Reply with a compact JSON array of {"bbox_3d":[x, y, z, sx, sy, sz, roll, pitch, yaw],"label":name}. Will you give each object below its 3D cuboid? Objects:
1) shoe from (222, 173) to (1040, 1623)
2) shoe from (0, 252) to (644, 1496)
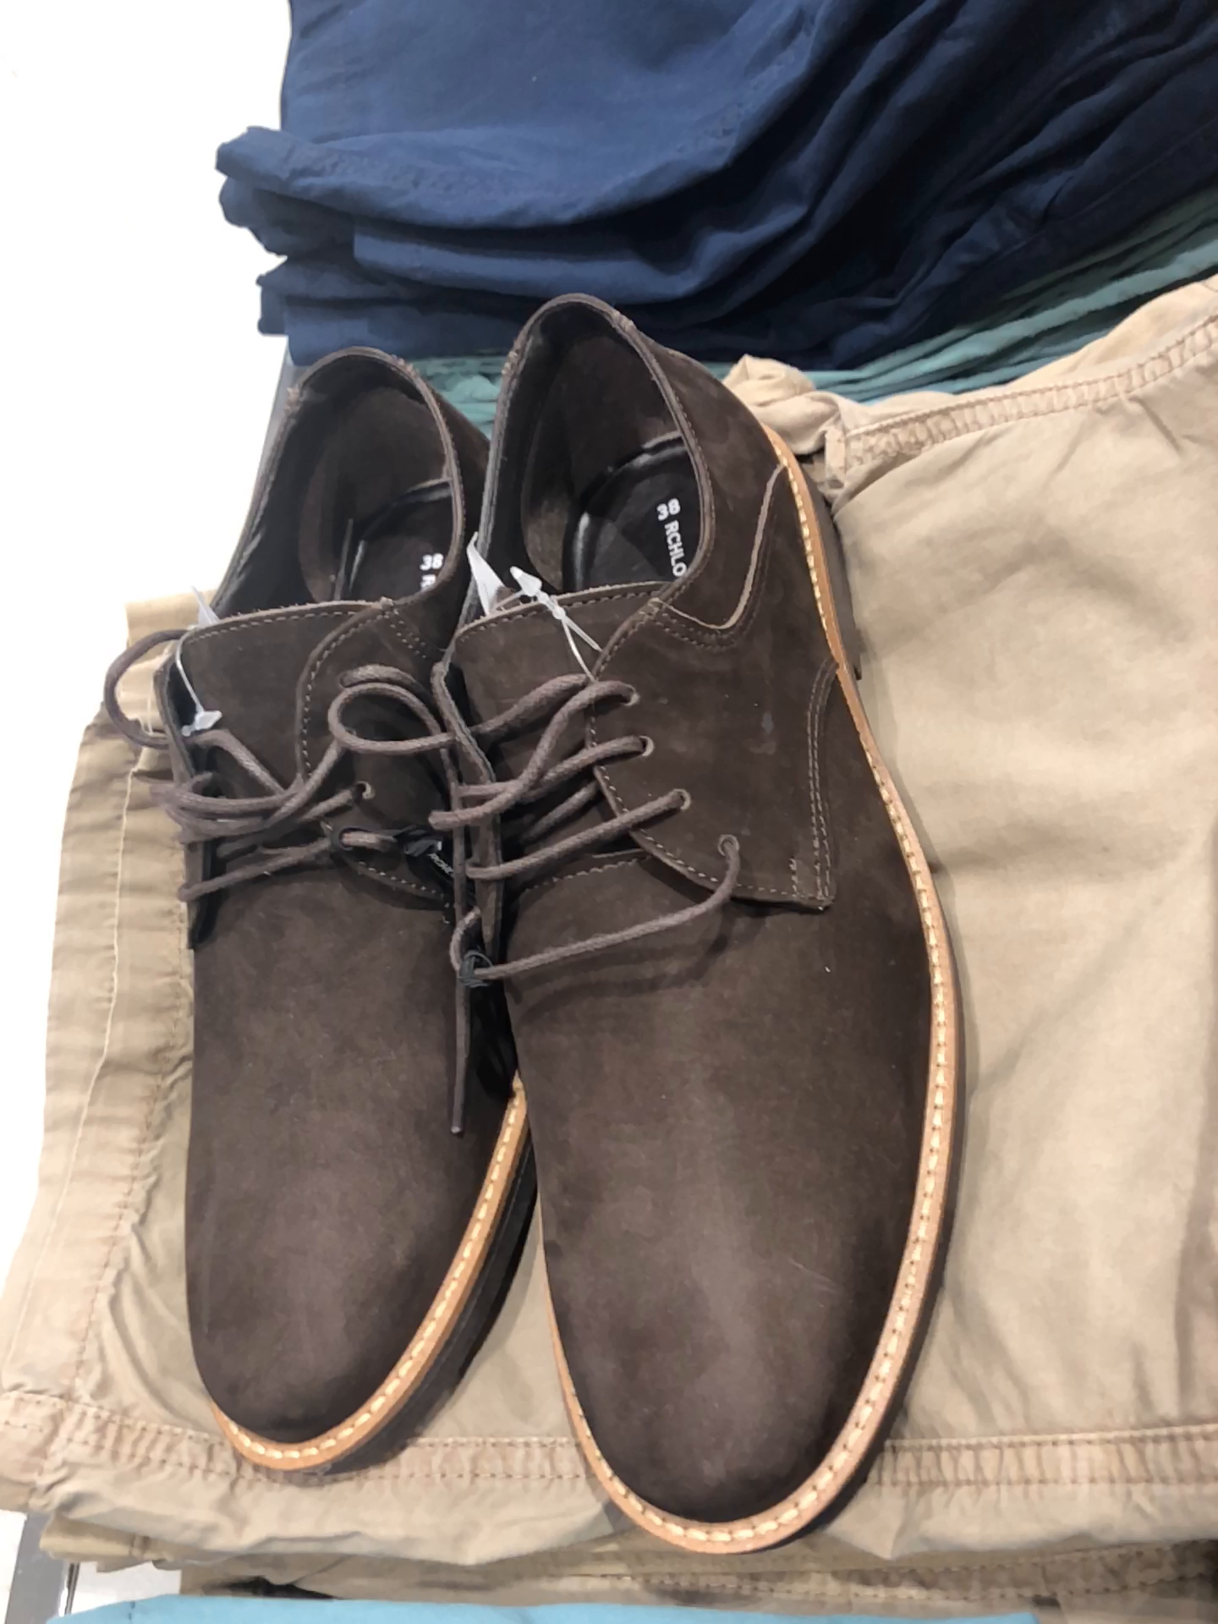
[{"bbox_3d":[0.008,0.016,0.287,0.100,0.109,0.261,-14,61,24],"label":"shoe"},{"bbox_3d":[-0.070,0.014,0.337,0.110,0.110,0.261,-5,67,23],"label":"shoe"}]
